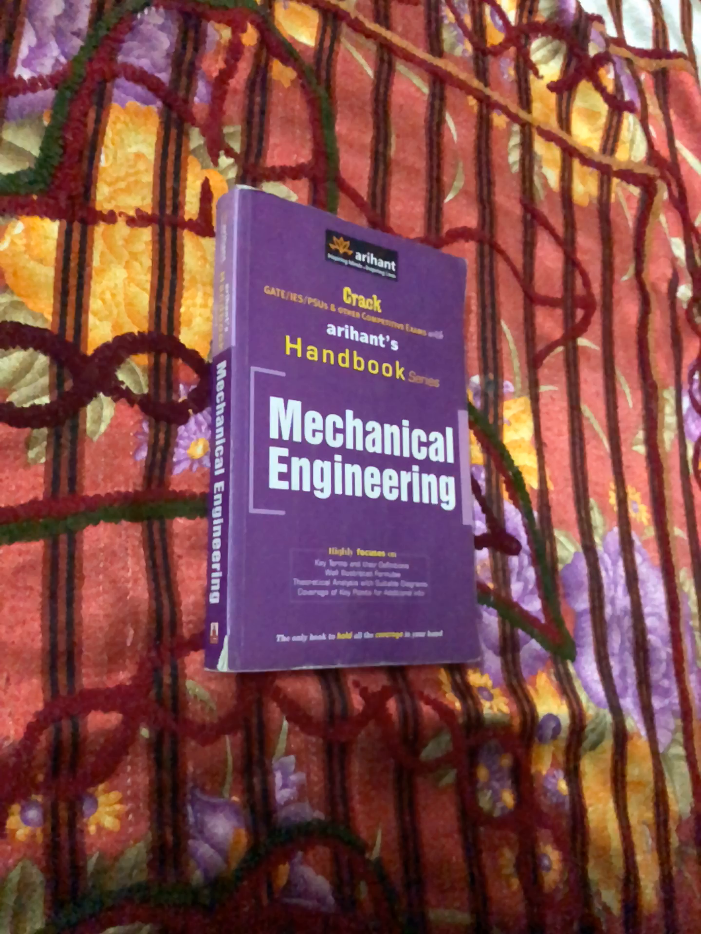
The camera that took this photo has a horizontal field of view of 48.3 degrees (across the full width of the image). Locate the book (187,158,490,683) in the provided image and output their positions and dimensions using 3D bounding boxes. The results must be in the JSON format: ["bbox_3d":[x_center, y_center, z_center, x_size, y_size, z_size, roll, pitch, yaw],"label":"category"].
[{"bbox_3d":[-0.003,-0.017,0.393,0.148,0.040,0.231,6,77,-35],"label":"book"}]
